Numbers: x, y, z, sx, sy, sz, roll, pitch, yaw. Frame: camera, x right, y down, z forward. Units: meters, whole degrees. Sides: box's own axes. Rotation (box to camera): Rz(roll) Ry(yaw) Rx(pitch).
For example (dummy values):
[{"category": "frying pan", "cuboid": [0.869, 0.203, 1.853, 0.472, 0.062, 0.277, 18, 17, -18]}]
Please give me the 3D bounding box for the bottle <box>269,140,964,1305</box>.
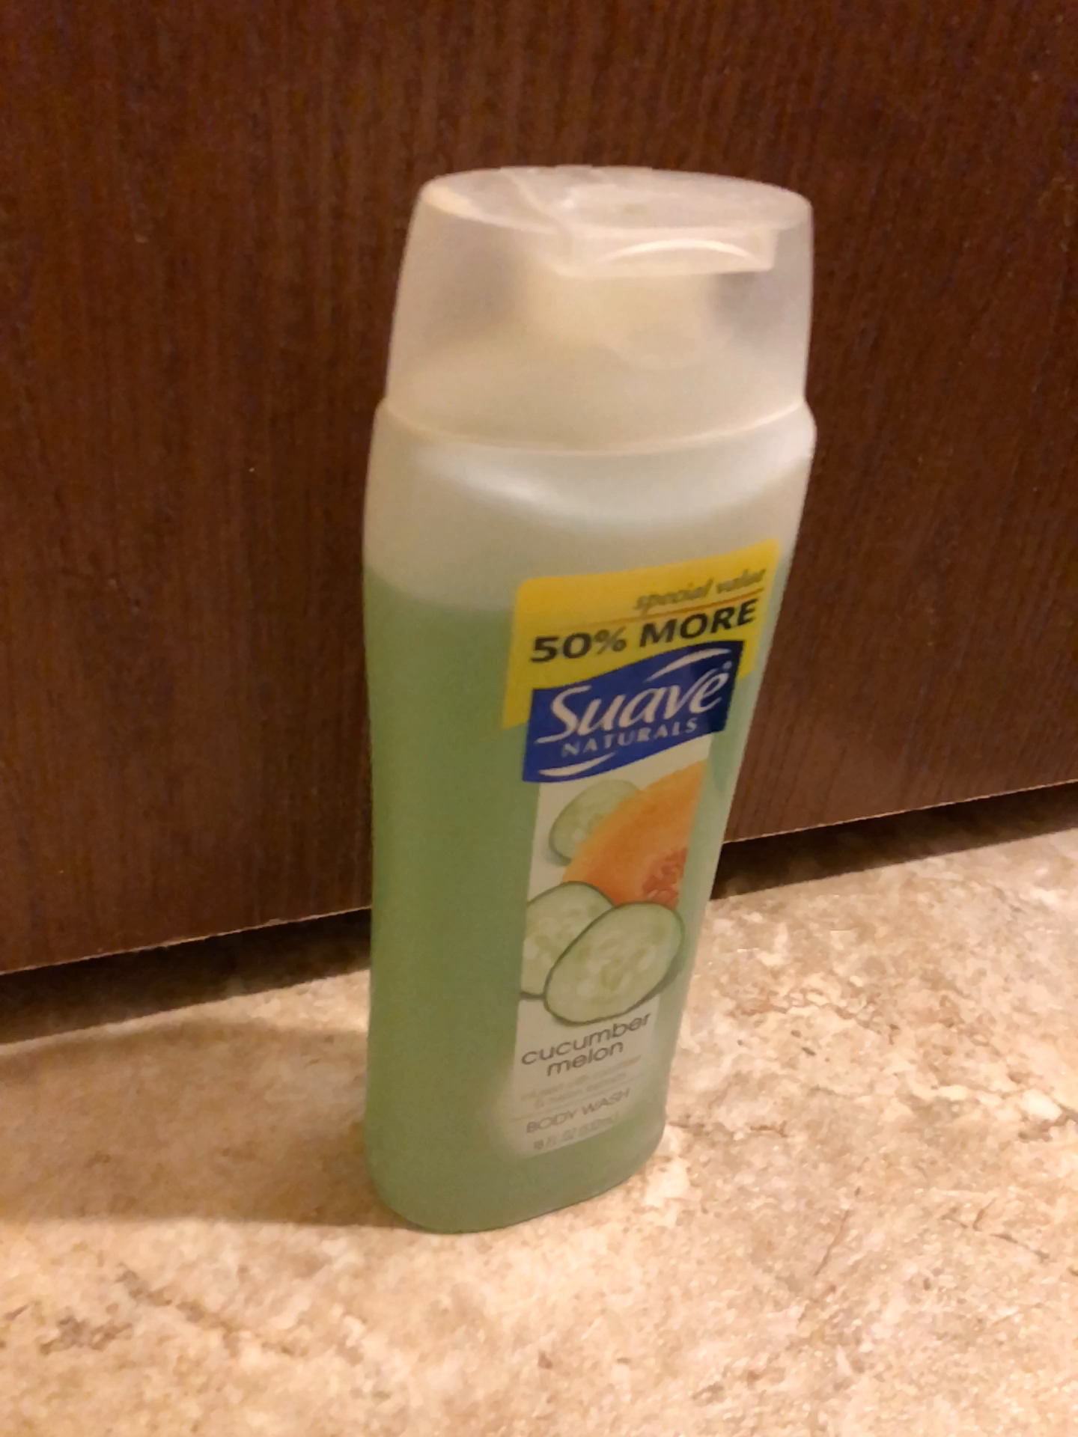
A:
[{"category": "bottle", "cuboid": [0.002, 0.017, 0.246, 0.090, 0.239, 0.050, -12, 39, -23]}]
